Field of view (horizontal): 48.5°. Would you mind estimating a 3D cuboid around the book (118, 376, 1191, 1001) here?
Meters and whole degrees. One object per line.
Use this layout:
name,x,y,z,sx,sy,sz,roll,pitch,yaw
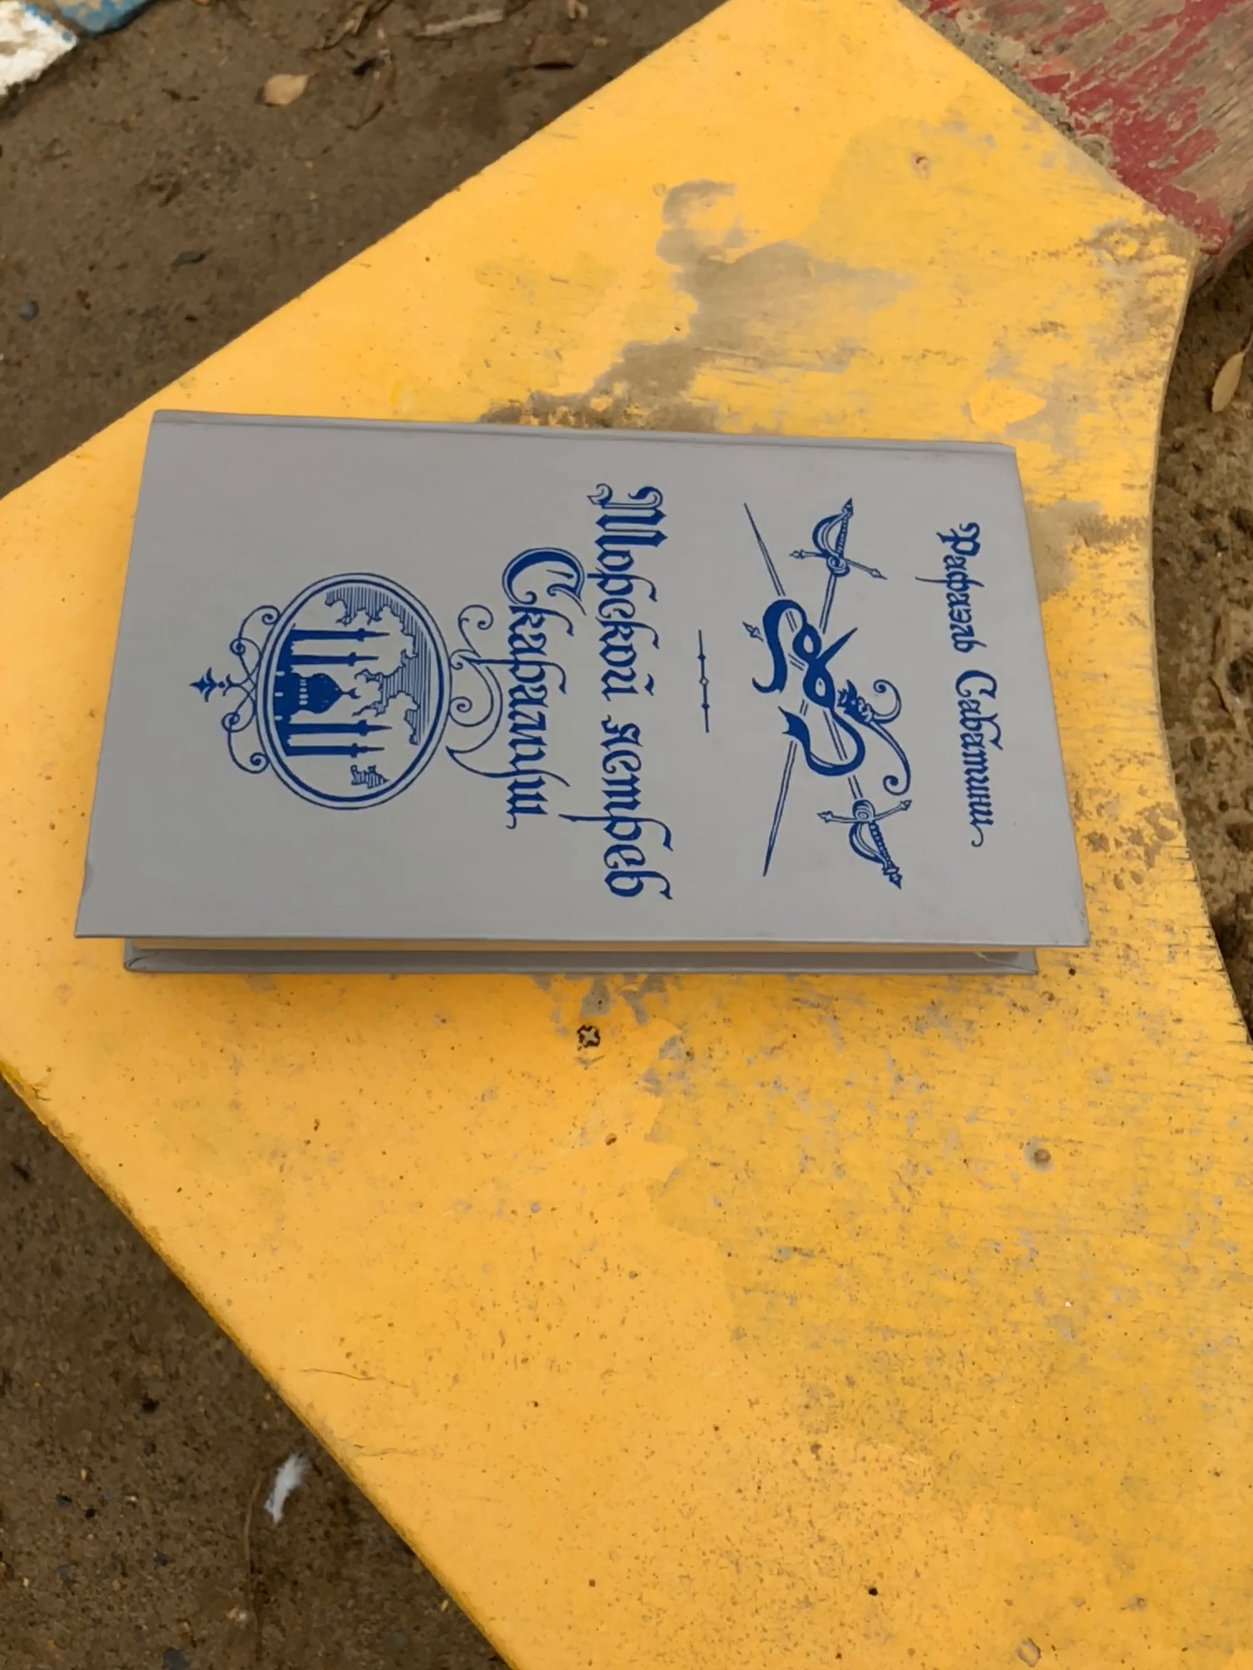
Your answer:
book,0.006,-0.034,0.315,0.210,0.037,0.135,1,68,-3
